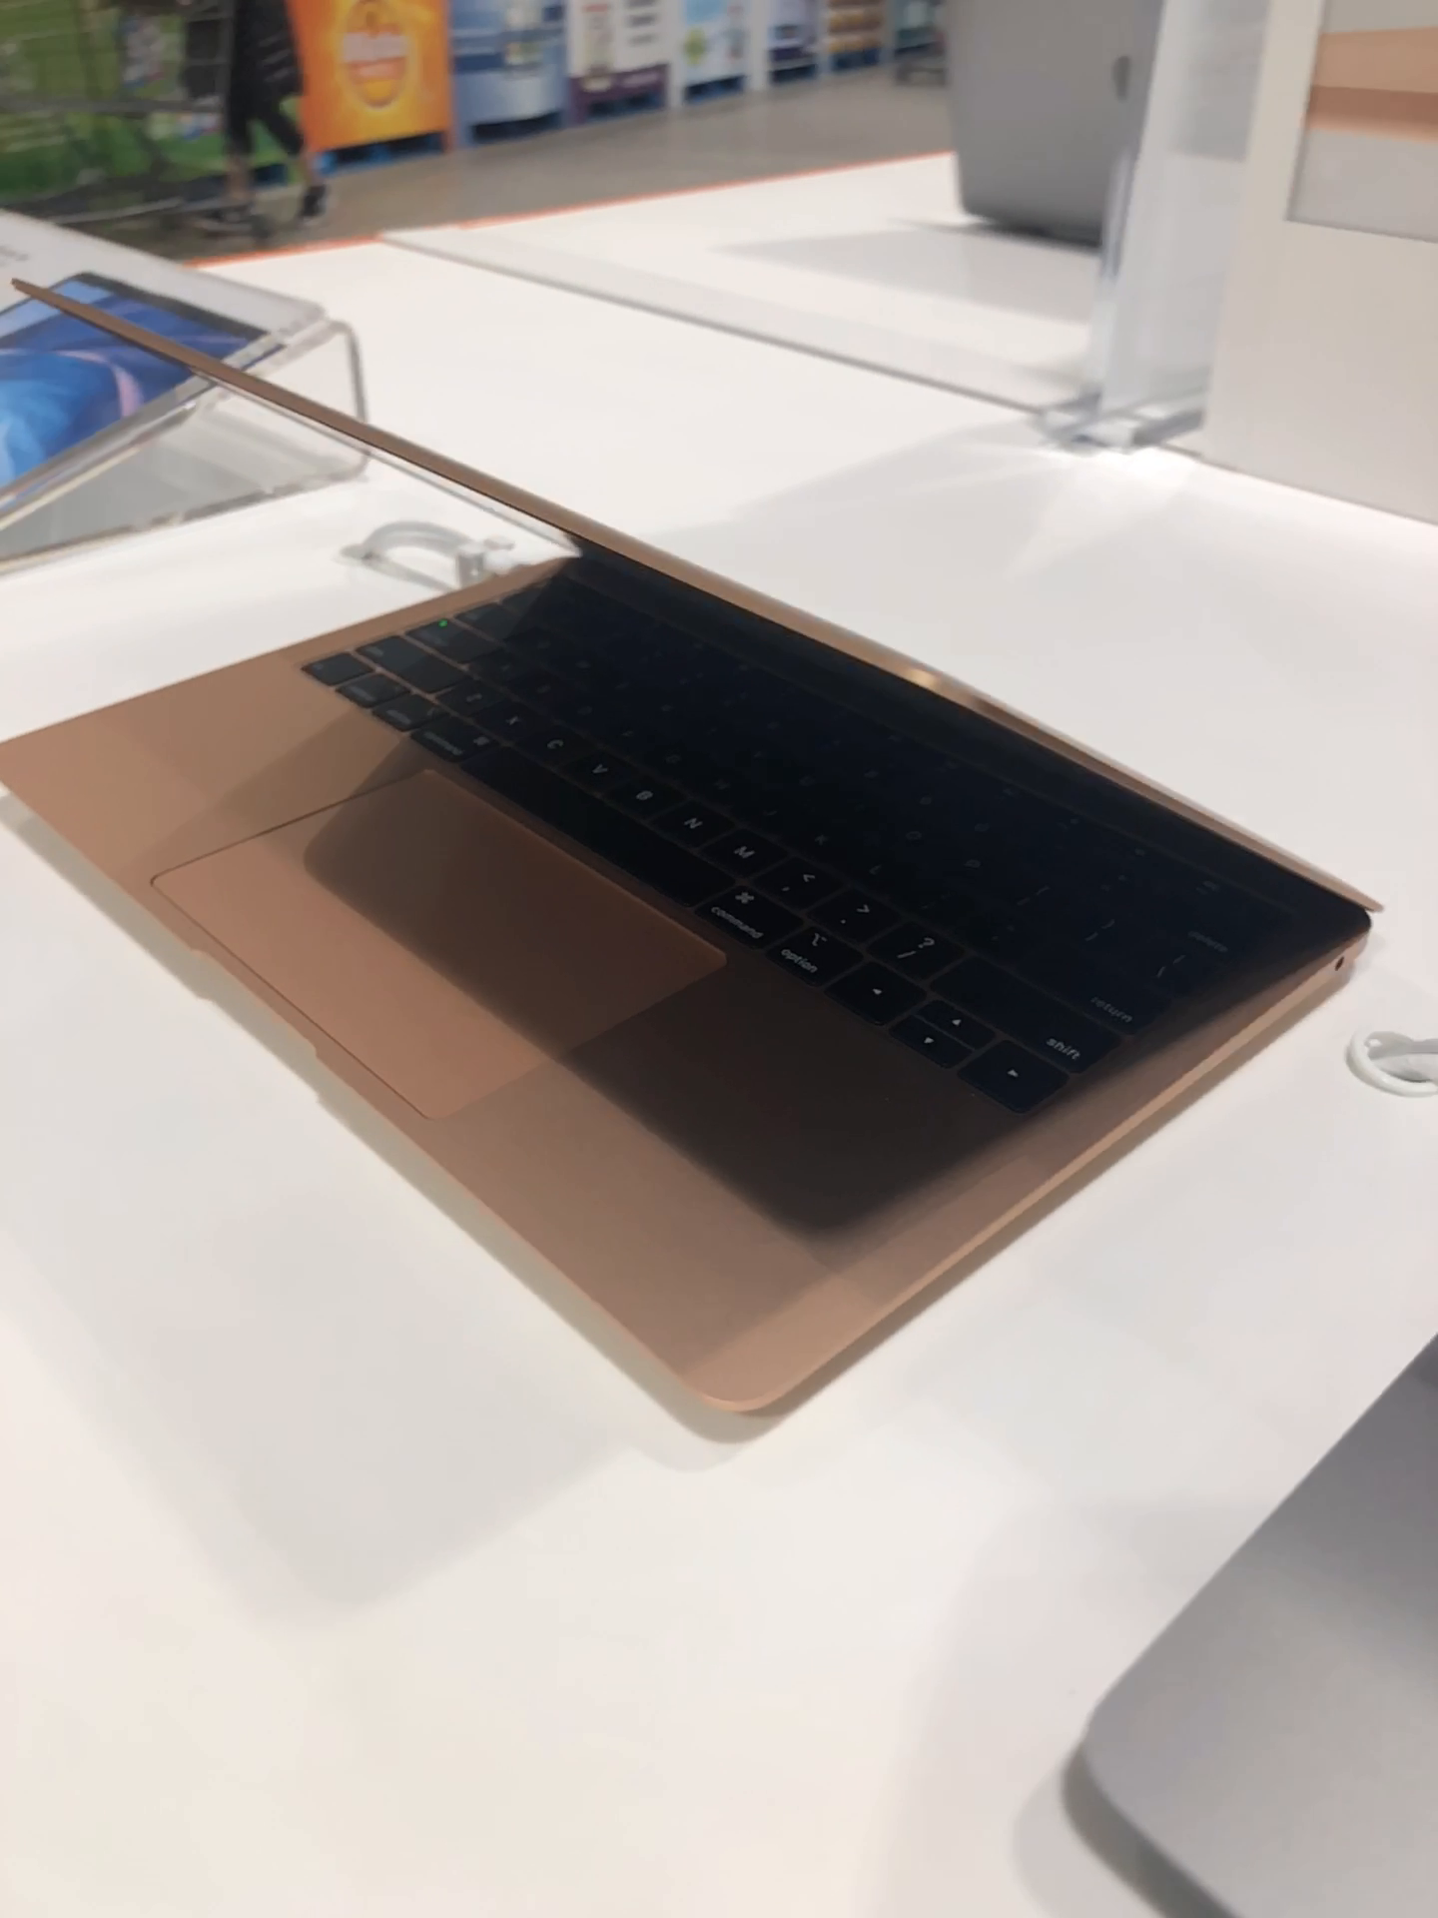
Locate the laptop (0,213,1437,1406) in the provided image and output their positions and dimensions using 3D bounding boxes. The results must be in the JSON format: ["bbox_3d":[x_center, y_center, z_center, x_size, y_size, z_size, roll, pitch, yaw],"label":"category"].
[{"bbox_3d":[-0.024,-0.077,0.366,0.199,0.106,0.297,-28,44,-34],"label":"laptop"}]
